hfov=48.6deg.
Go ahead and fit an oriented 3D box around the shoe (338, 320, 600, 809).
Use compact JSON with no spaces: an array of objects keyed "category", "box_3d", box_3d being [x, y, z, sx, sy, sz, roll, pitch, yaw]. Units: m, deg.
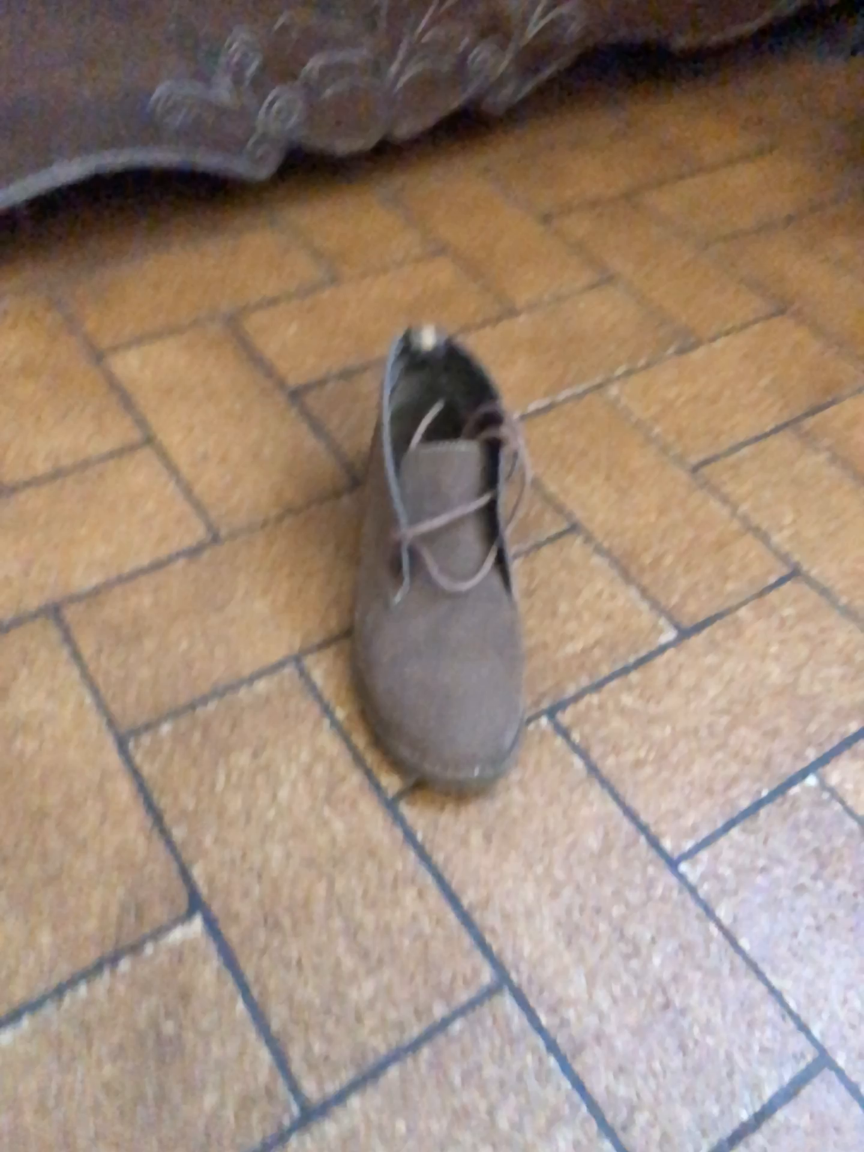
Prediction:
[{"category":"shoe","box_3d":[0.004,-0.018,0.506,0.100,0.099,0.251,-1,50,-7]}]
